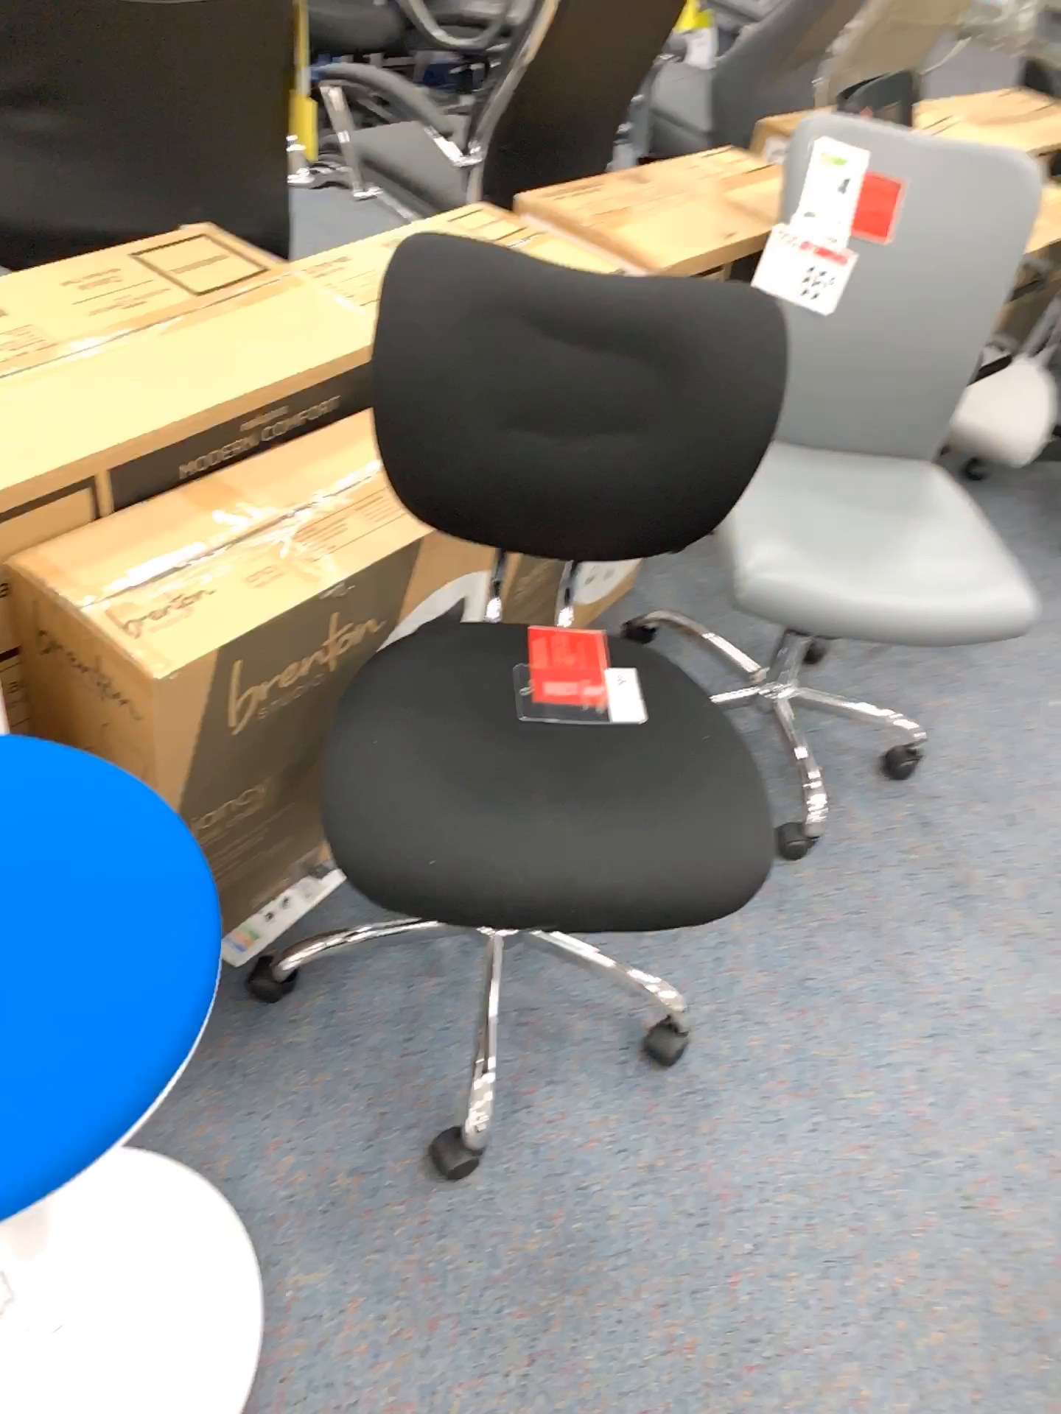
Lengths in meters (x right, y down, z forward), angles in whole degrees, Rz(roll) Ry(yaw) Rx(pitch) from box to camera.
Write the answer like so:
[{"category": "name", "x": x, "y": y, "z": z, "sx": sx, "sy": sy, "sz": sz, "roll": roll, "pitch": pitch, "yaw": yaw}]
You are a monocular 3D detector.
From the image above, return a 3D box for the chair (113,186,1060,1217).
[{"category": "chair", "x": -0.014, "y": 0.046, "z": 1.203, "sx": 0.647, "sy": 0.879, "sz": 0.660, "roll": 5, "pitch": 43, "yaw": -9}]

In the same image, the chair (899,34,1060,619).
[{"category": "chair", "x": 1.635, "y": -0.954, "z": 2.619, "sx": 0.981, "sy": 0.989, "sz": 0.708, "roll": -29, "pitch": 57, "yaw": -37}]

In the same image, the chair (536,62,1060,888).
[{"category": "chair", "x": 0.507, "y": -0.306, "z": 1.675, "sx": 0.737, "sy": 0.959, "sz": 0.710, "roll": 1, "pitch": 44, "yaw": -13}]
